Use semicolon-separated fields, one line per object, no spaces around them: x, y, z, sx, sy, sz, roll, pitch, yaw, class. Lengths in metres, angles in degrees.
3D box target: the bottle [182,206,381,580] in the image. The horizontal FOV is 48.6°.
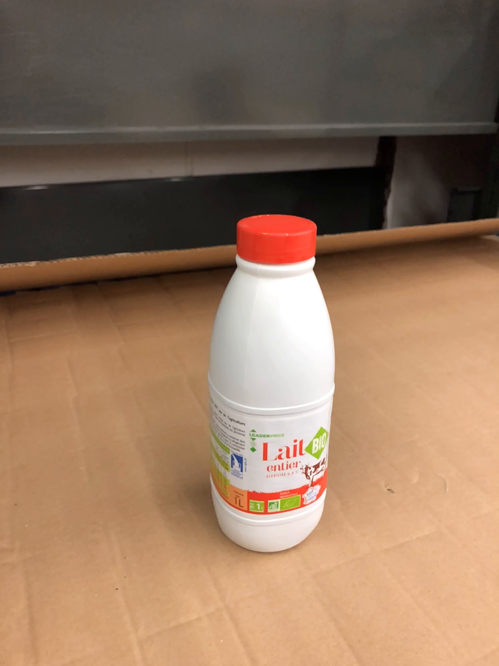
0.012;0.040;0.375;0.090;0.229;0.080;-10;28;-23;bottle
